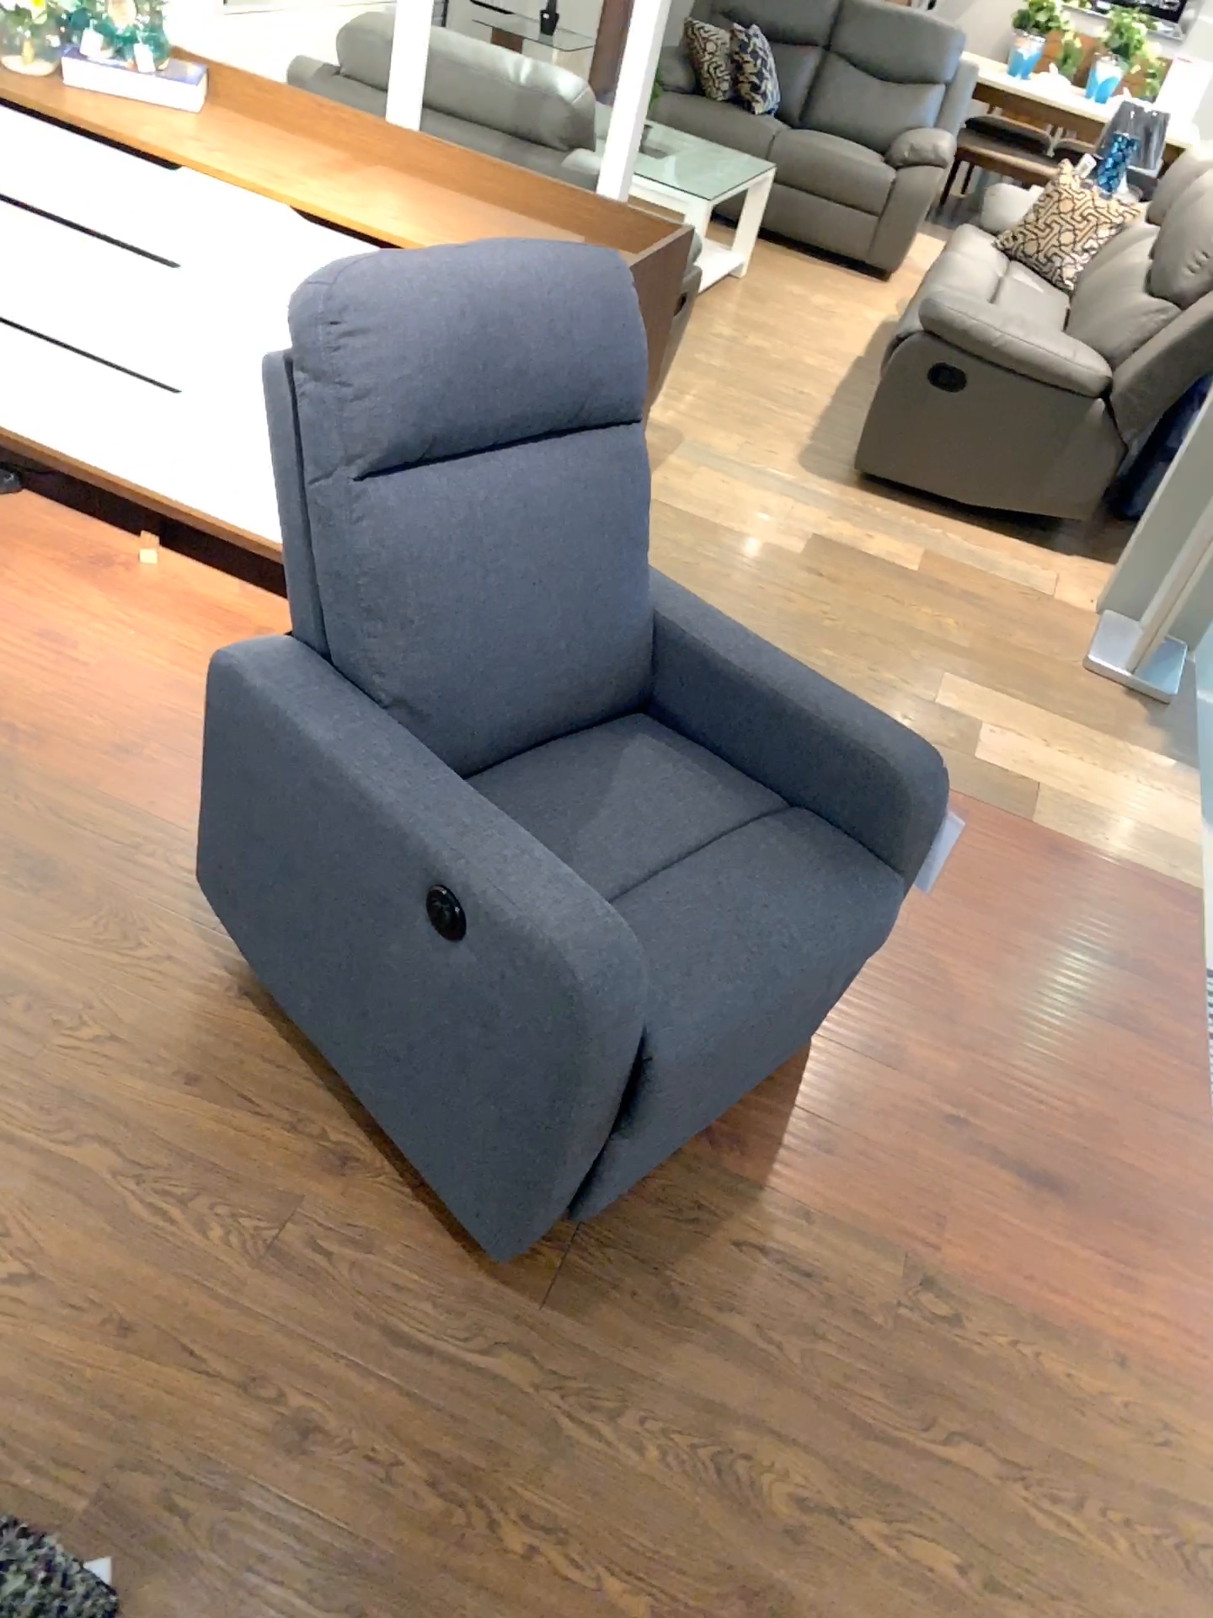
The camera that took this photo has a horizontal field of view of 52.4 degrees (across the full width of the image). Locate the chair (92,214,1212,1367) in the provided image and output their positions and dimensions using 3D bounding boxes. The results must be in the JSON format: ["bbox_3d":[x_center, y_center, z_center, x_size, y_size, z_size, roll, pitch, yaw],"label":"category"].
[{"bbox_3d":[0.005,-0.116,1.647,0.881,0.966,0.933,39,44,26],"label":"chair"}]
